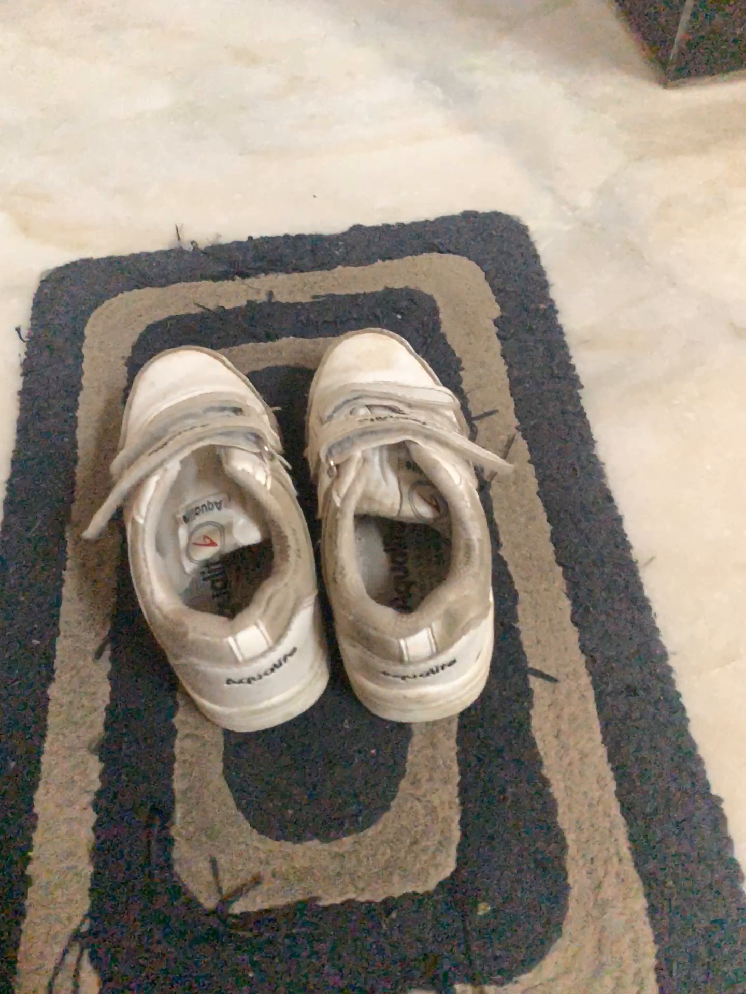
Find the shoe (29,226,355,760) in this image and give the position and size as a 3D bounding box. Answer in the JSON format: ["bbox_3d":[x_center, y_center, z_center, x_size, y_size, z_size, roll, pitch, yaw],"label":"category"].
[{"bbox_3d":[-0.077,-0.007,0.319,0.080,0.089,0.191,-17,59,-7],"label":"shoe"}]

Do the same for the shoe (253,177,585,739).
[{"bbox_3d":[0.007,-0.022,0.308,0.080,0.089,0.201,-9,59,-2],"label":"shoe"}]
